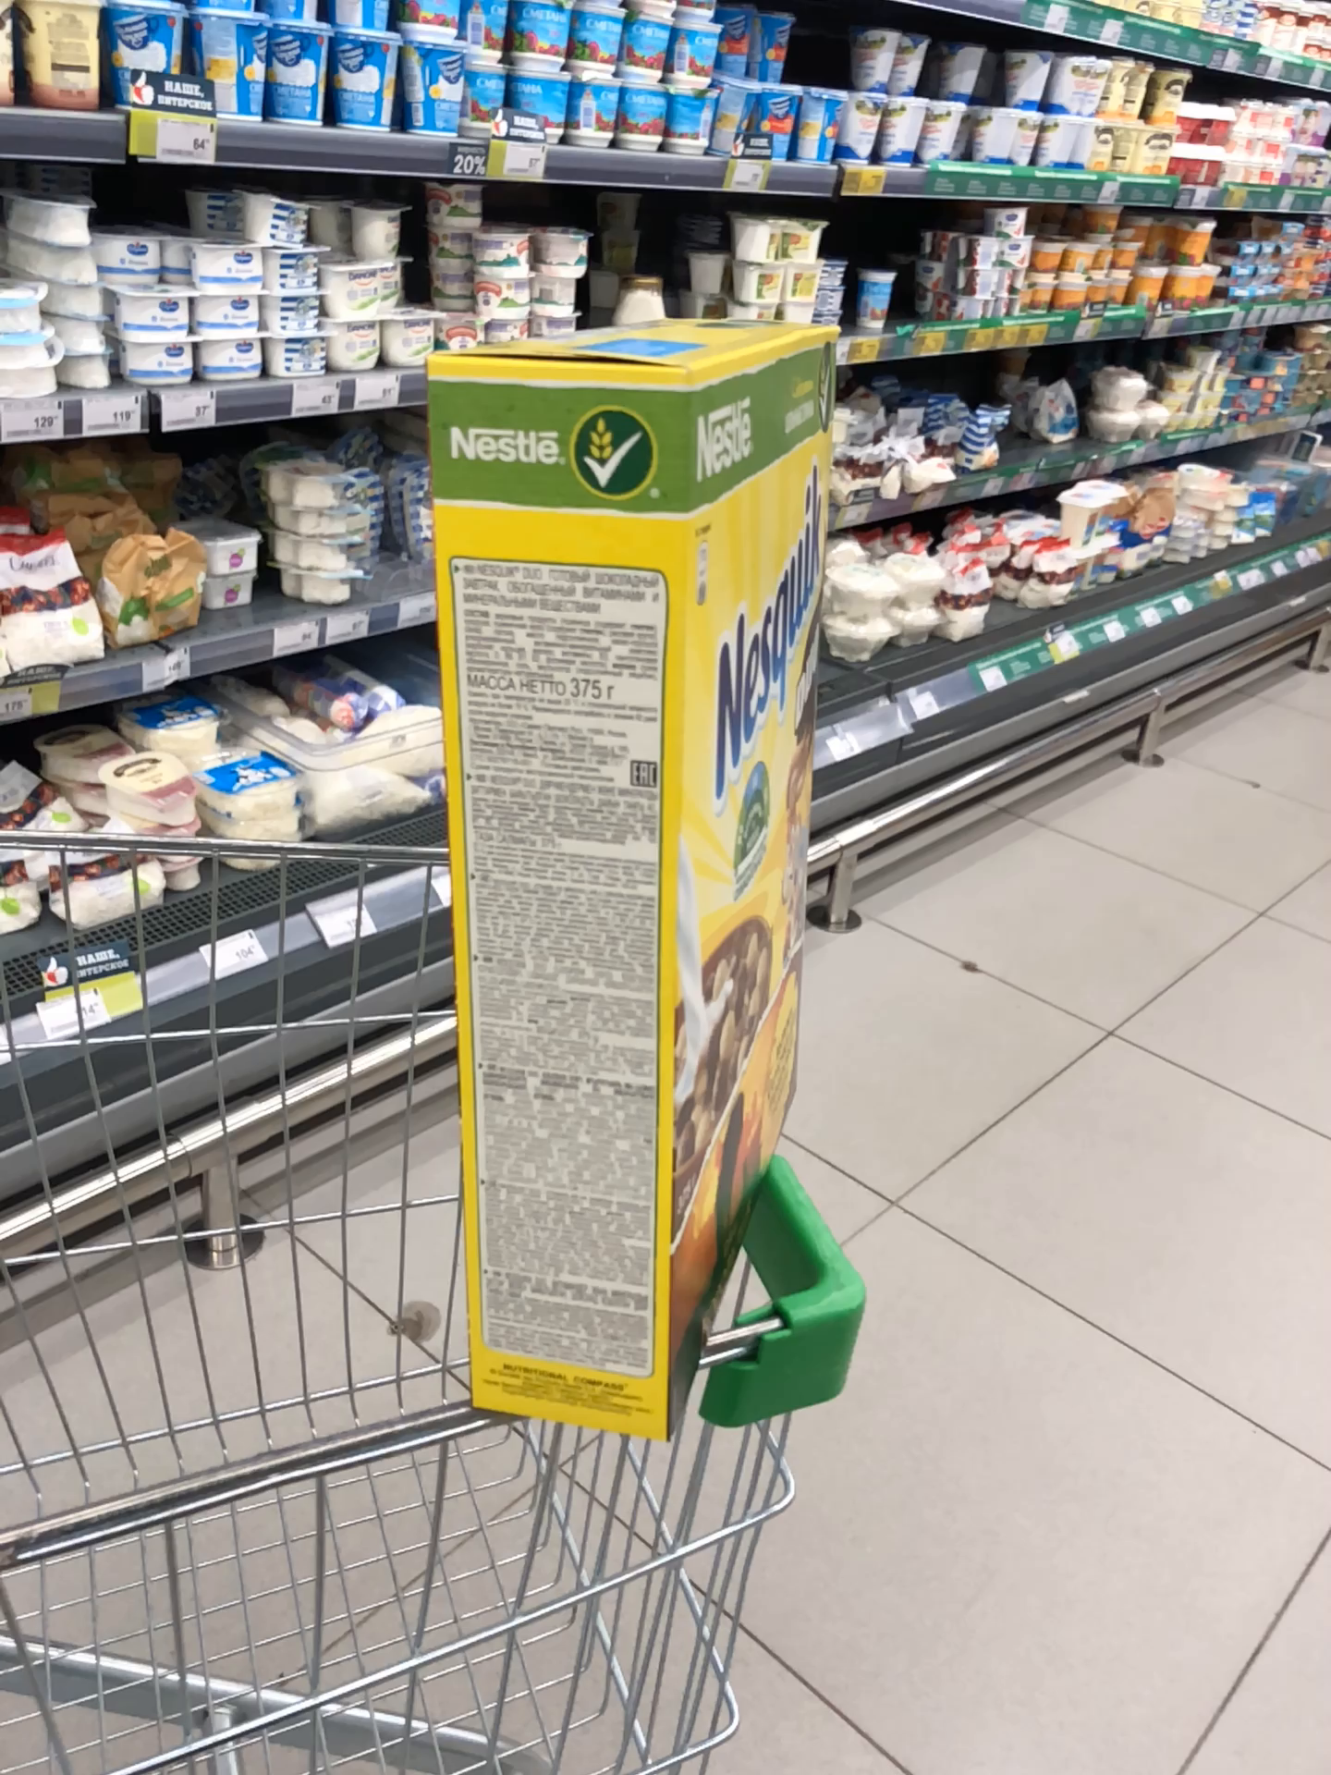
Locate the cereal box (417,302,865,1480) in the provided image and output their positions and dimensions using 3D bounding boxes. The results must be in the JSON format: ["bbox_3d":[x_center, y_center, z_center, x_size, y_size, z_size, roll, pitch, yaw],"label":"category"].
[{"bbox_3d":[0.004,-0.016,0.421,0.060,0.279,0.201,7,23,13],"label":"cereal box"}]
